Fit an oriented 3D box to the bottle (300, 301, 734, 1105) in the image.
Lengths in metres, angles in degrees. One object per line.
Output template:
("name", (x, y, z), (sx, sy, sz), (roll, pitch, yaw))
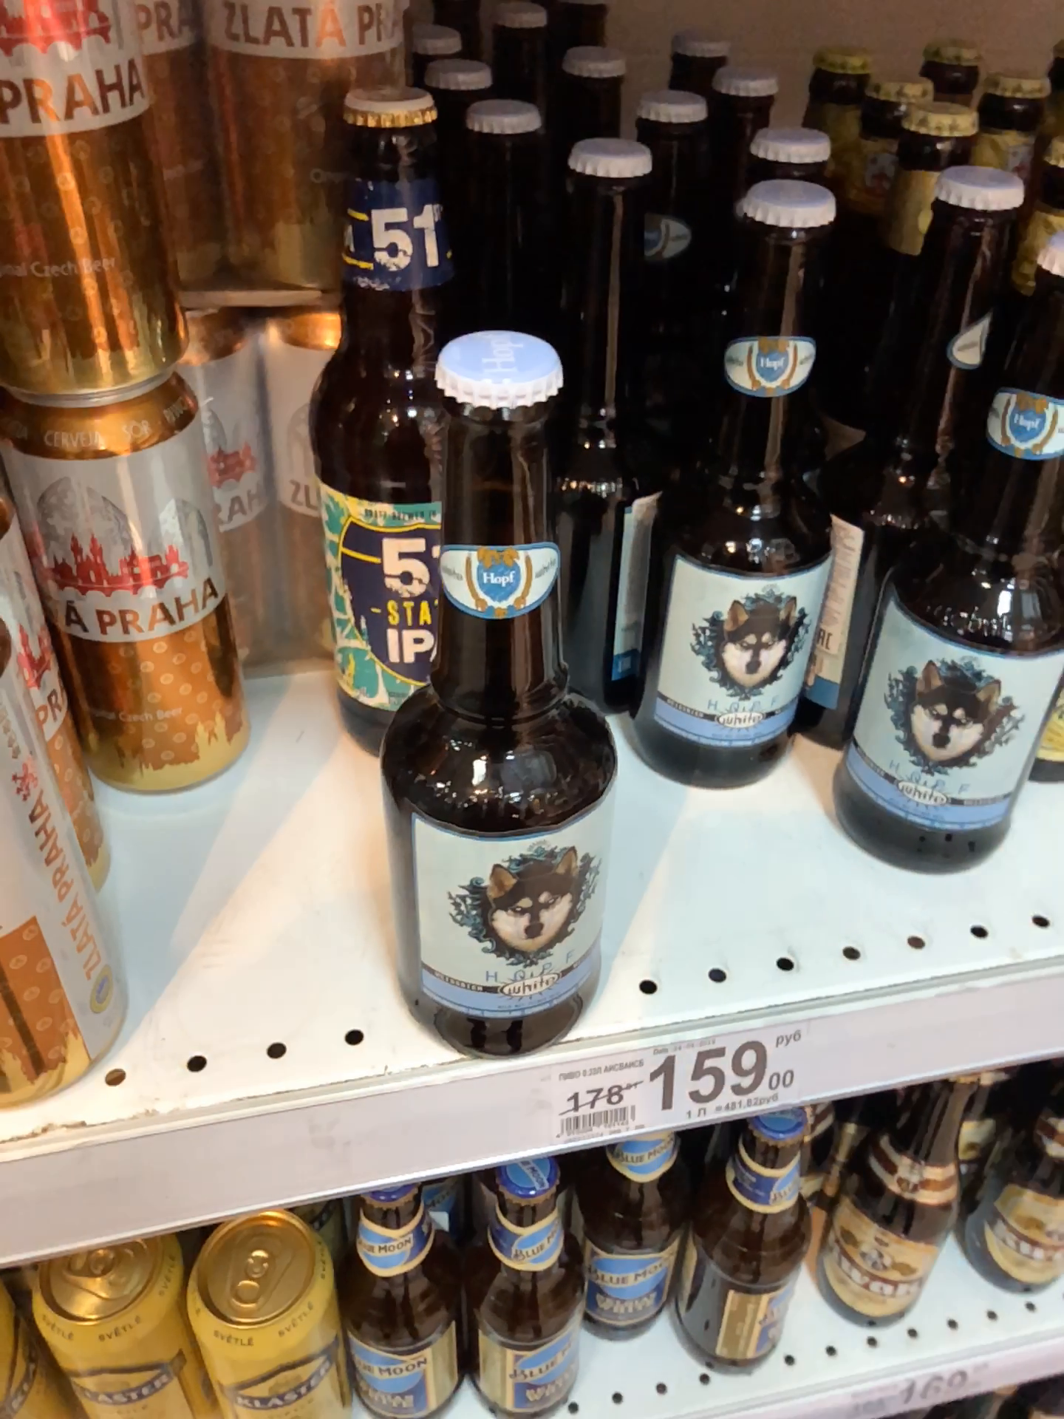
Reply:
("bottle", (-0.010, 0.009, 0.332), (0.080, 0.219, 0.070), (-10, 41, -15))
